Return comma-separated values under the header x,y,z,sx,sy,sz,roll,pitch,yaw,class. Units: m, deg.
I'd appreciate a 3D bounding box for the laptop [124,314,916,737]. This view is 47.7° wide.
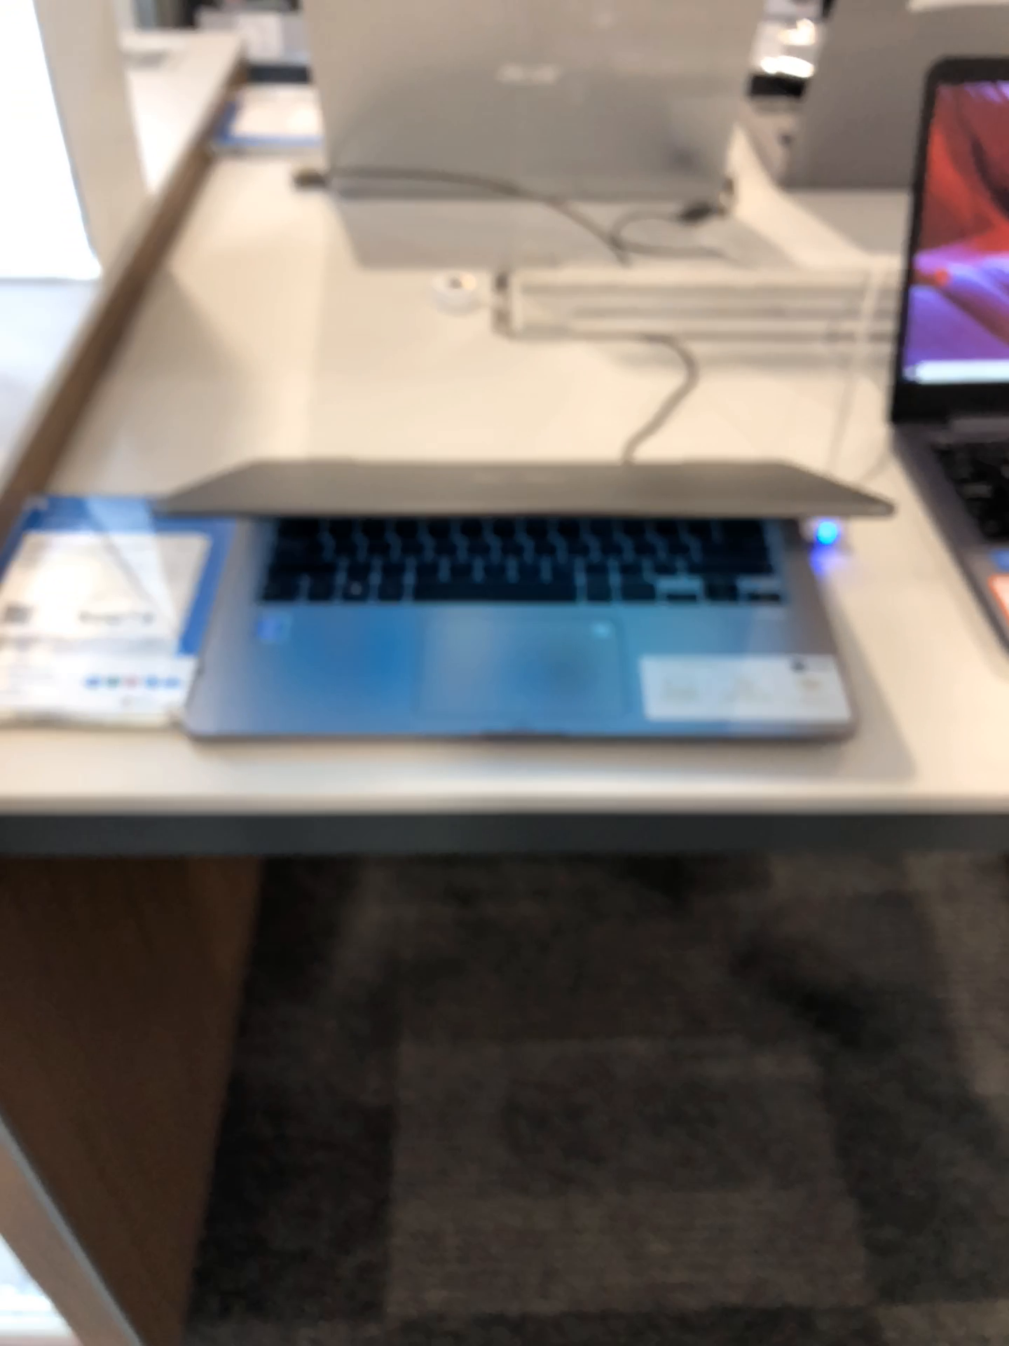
x,y,z,sx,sy,sz,roll,pitch,yaw,class
0.005,-0.083,0.578,0.321,0.105,0.215,0,43,1,laptop
